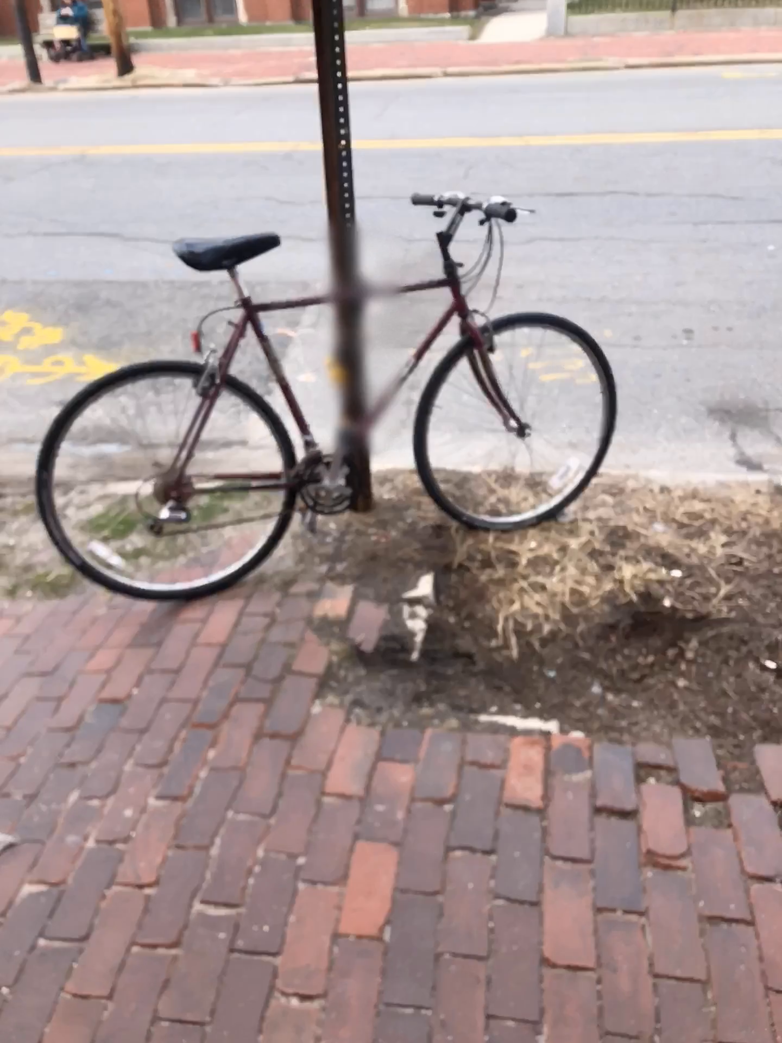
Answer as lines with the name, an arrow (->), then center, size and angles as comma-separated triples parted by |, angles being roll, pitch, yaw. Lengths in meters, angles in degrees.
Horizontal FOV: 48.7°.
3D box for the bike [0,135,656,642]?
bike -> -0.154, -0.439, 2.496 | 1.682, 0.962, 0.558 | -14, 33, -14
